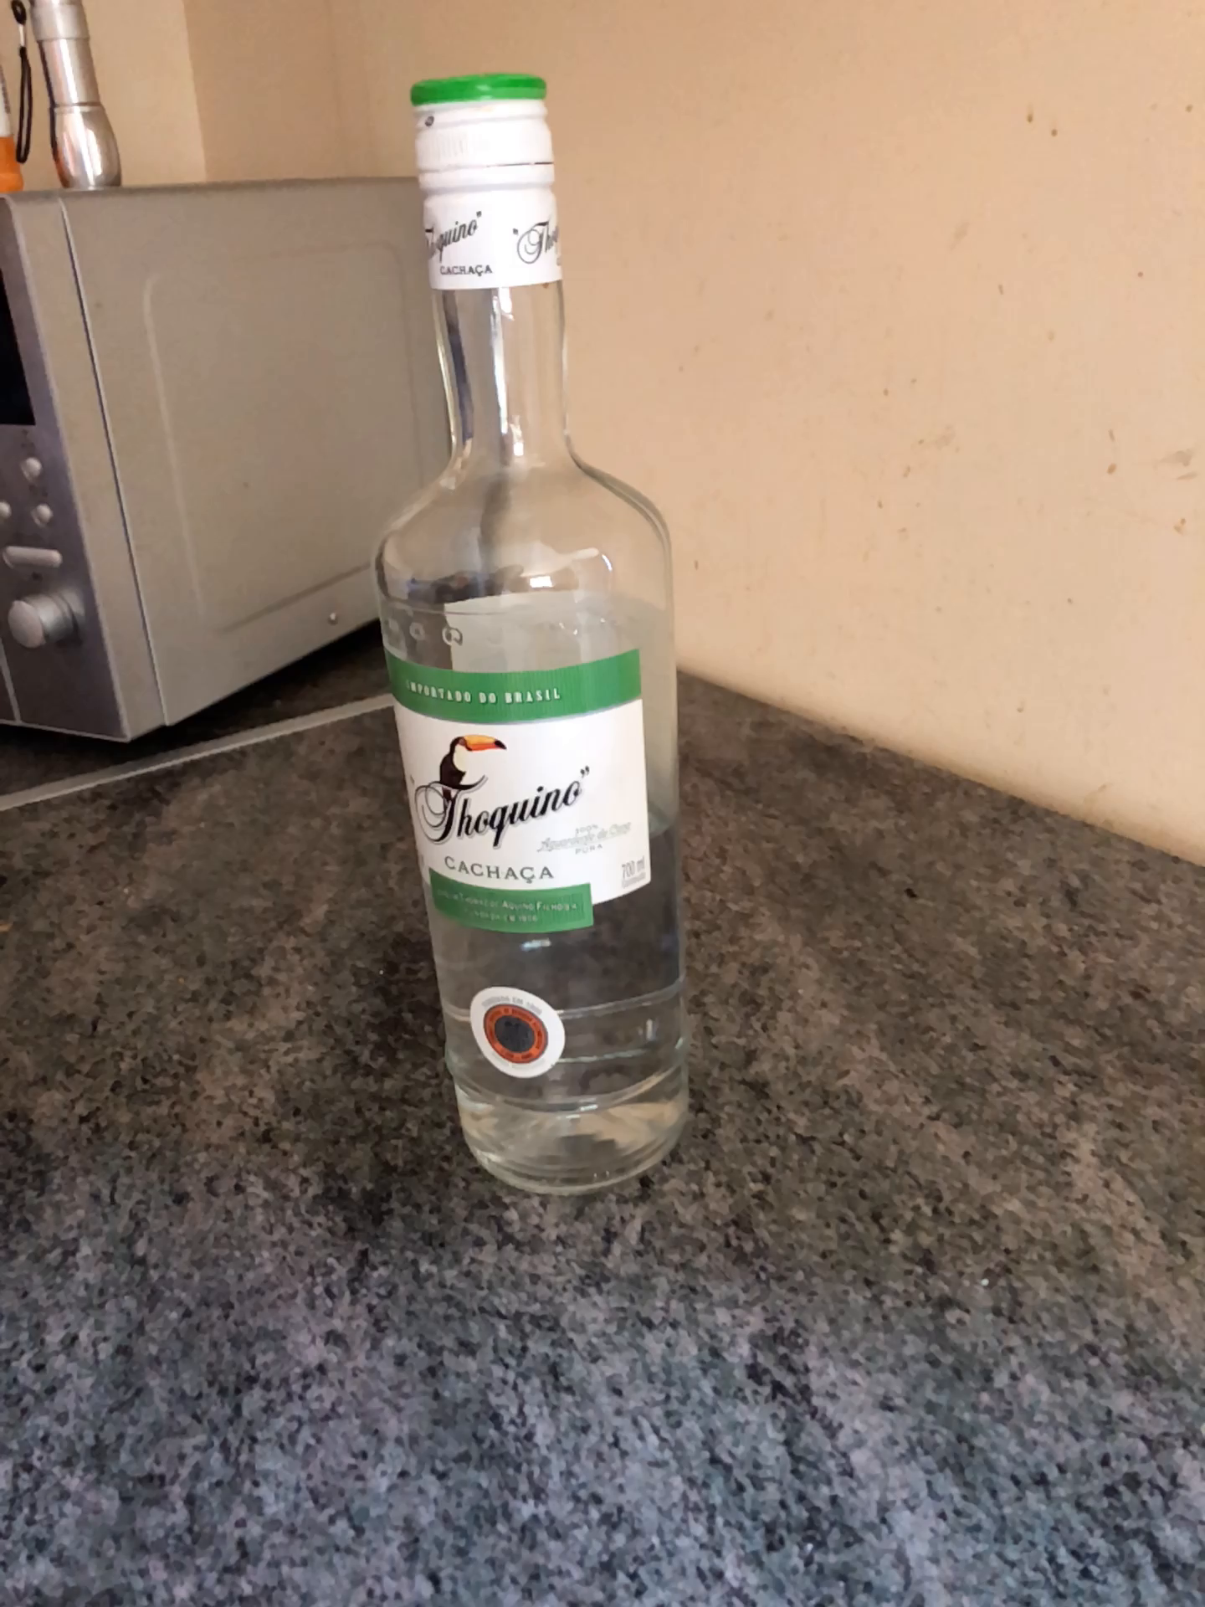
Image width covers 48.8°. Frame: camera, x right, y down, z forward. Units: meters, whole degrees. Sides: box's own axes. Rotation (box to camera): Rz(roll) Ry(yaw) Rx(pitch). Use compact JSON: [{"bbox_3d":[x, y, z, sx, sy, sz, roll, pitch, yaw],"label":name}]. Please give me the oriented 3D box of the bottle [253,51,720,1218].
[{"bbox_3d":[-0.018,-0.035,0.355,0.080,0.279,0.080,-2,23,1],"label":"bottle"}]
